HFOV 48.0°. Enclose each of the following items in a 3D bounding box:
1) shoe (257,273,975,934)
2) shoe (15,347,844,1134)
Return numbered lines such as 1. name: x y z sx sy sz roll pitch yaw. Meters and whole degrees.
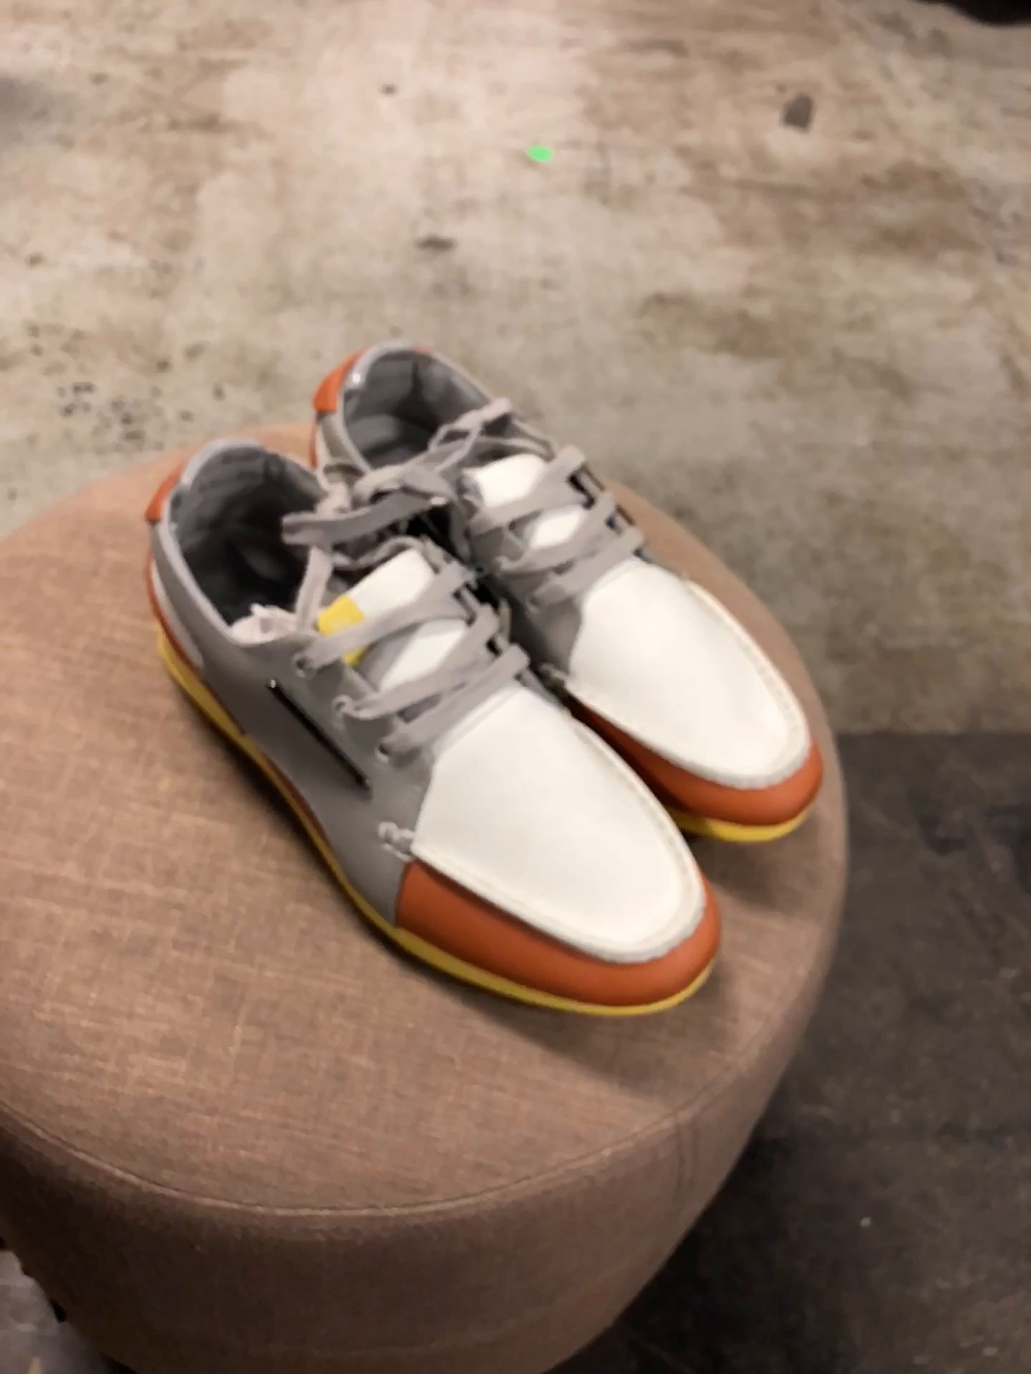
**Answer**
1. shoe: 0.024 -0.042 0.447 0.251 0.099 0.100 38 56 21
2. shoe: -0.042 0.006 0.413 0.281 0.099 0.100 38 56 21
